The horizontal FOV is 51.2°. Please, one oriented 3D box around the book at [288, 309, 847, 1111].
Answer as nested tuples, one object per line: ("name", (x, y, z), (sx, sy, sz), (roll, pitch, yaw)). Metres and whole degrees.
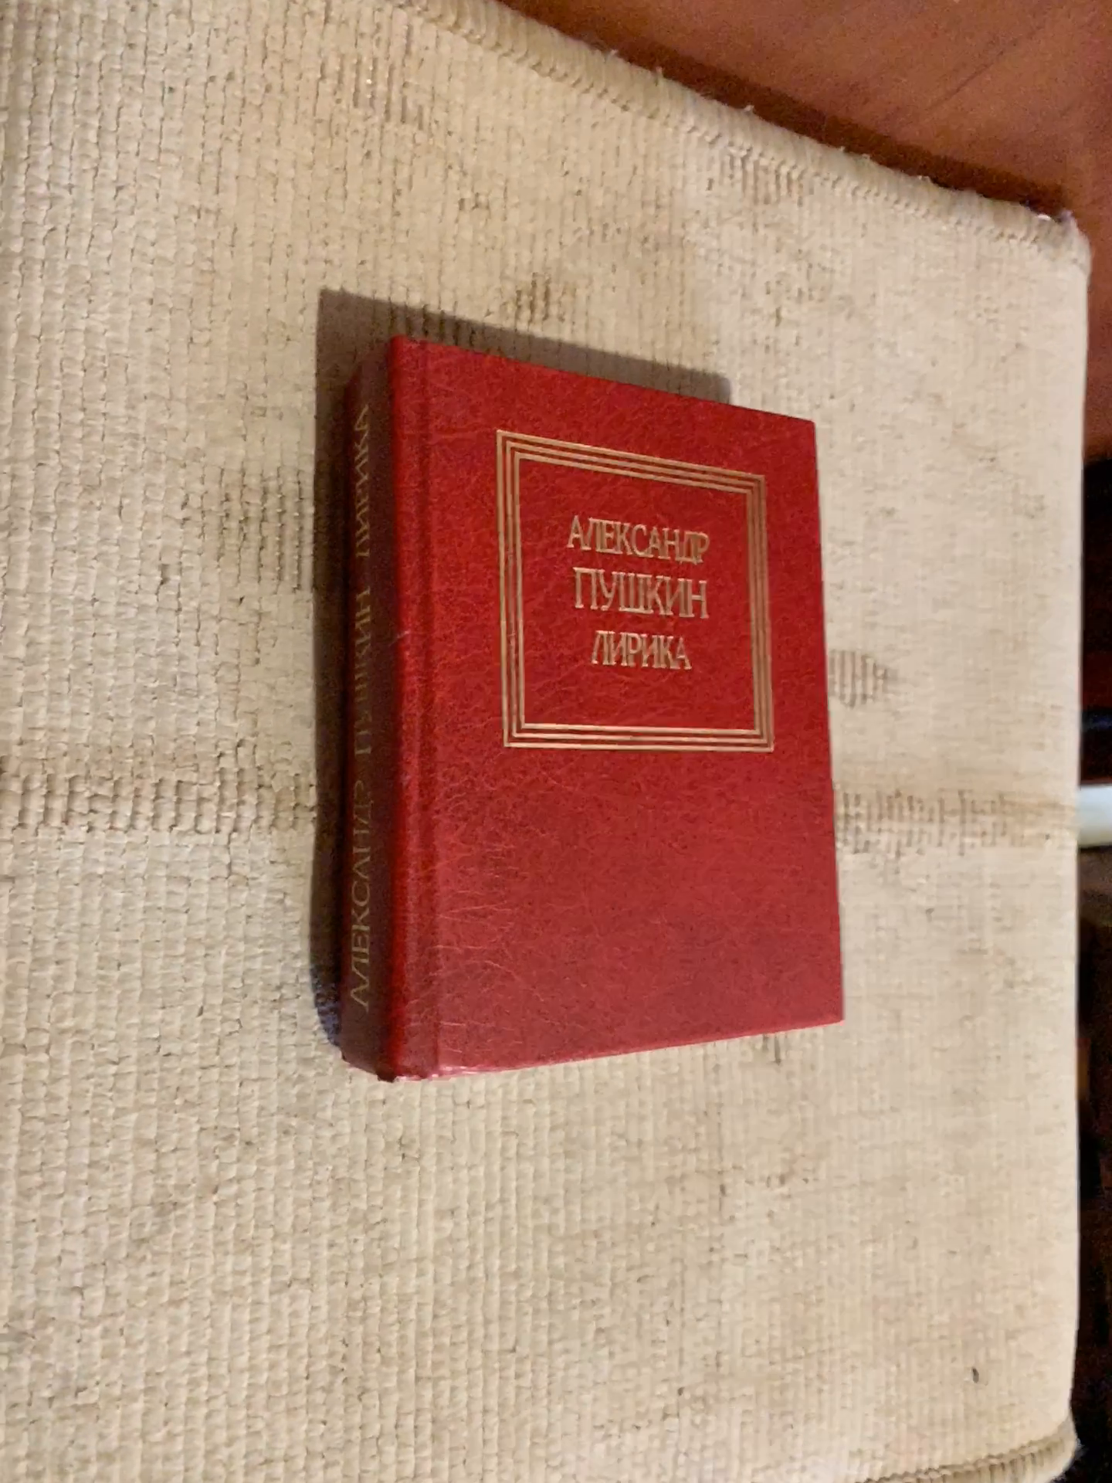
("book", (0.005, -0.004, 0.257), (0.120, 0.034, 0.148), (3, 84, -29))
